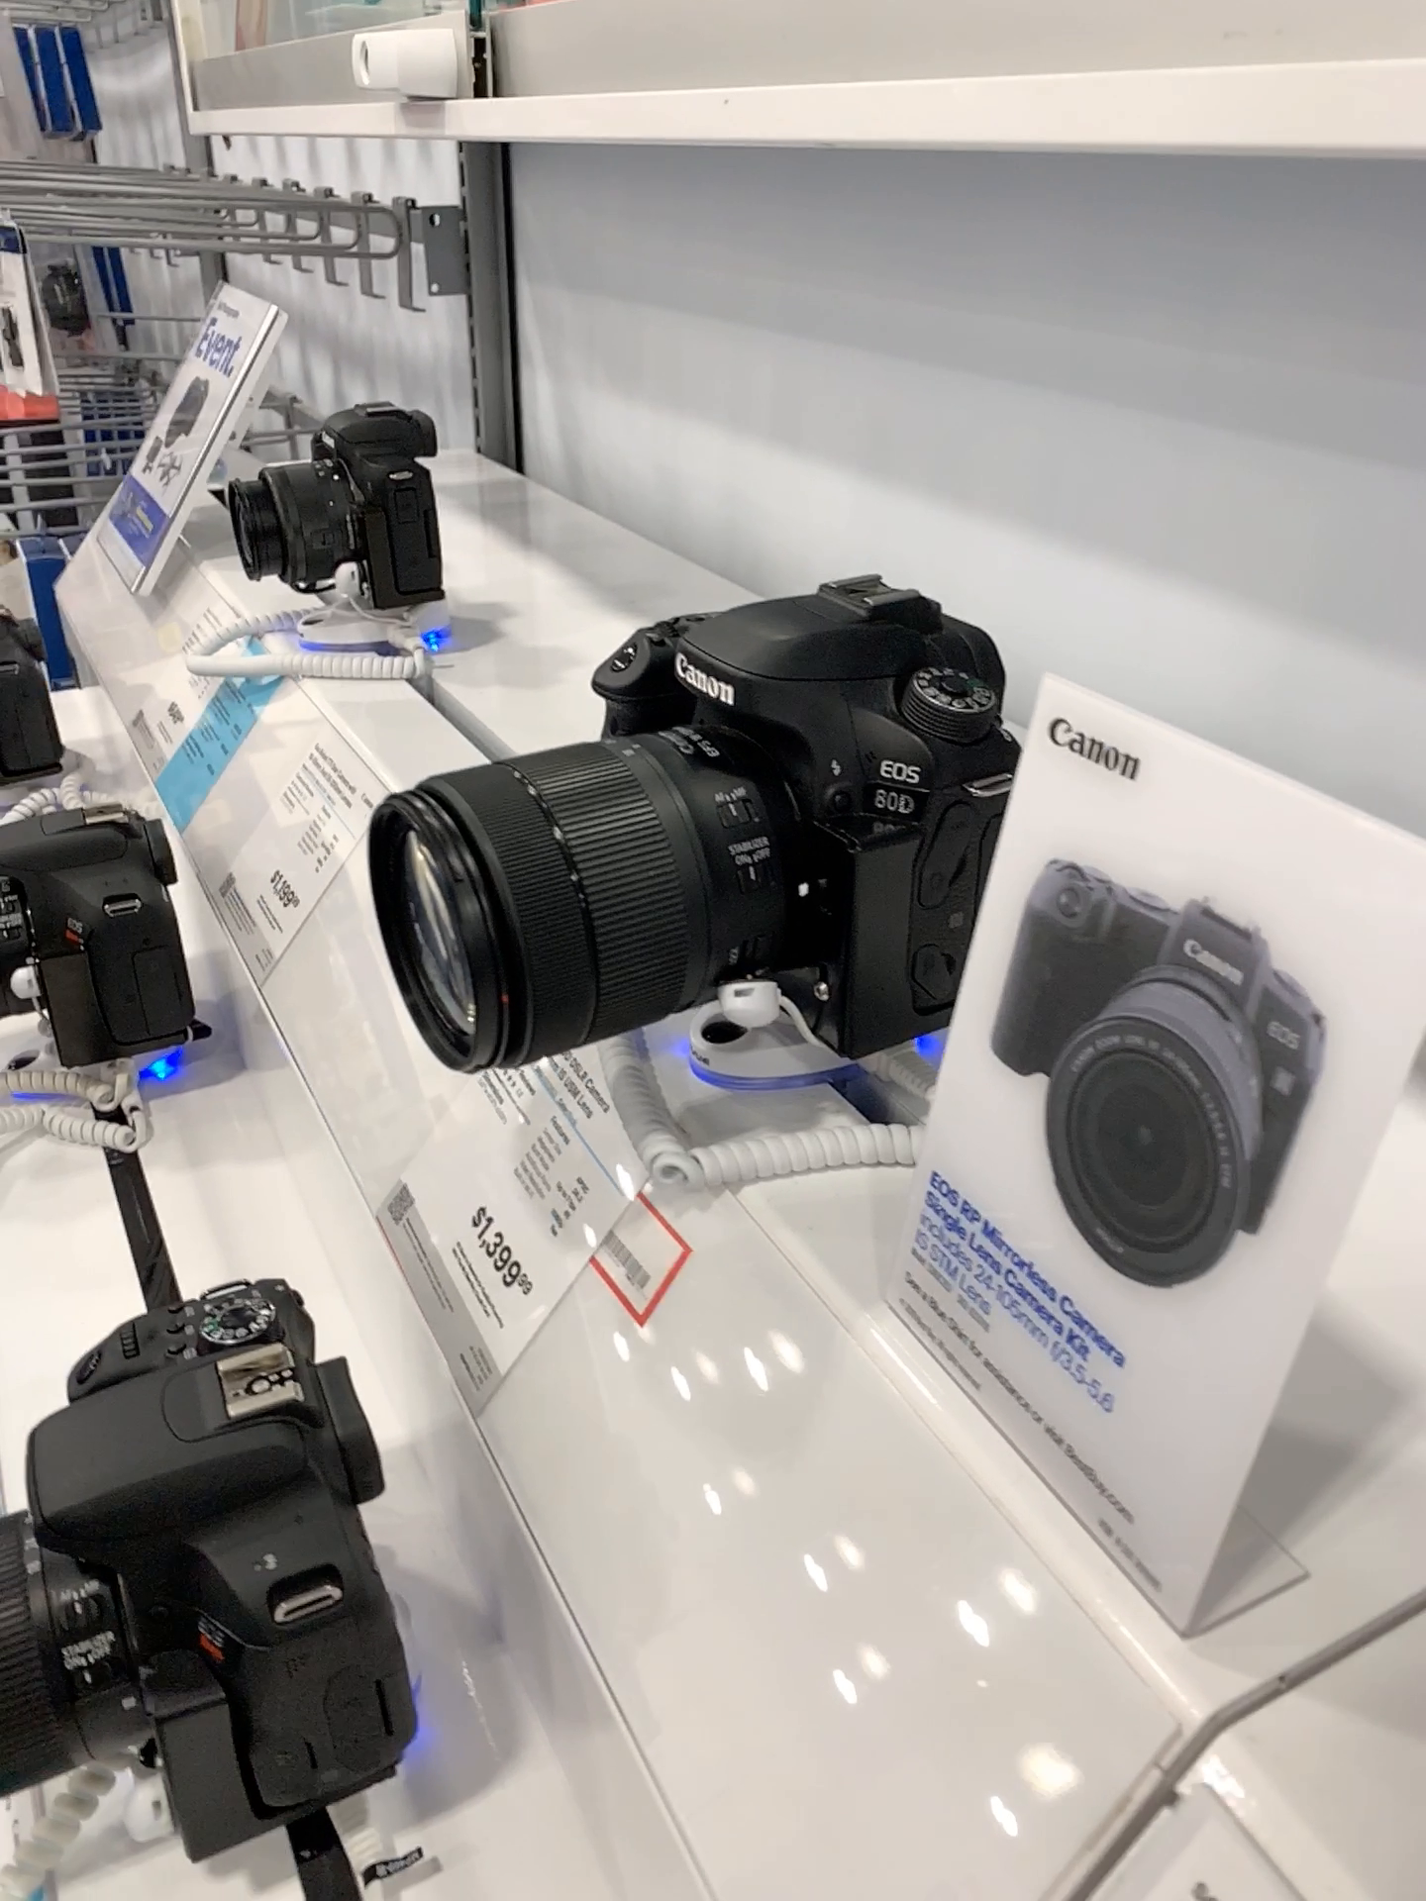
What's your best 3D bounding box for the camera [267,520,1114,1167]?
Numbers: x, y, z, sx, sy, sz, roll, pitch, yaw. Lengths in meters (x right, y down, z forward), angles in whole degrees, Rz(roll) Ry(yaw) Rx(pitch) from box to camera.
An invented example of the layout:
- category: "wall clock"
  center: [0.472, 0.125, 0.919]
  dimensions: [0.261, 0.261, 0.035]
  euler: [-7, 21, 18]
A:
- category: "camera"
  center: [-0.012, -0.046, 0.408]
  dimensions: [0.170, 0.099, 0.151]
  euler: [-15, 33, -28]
